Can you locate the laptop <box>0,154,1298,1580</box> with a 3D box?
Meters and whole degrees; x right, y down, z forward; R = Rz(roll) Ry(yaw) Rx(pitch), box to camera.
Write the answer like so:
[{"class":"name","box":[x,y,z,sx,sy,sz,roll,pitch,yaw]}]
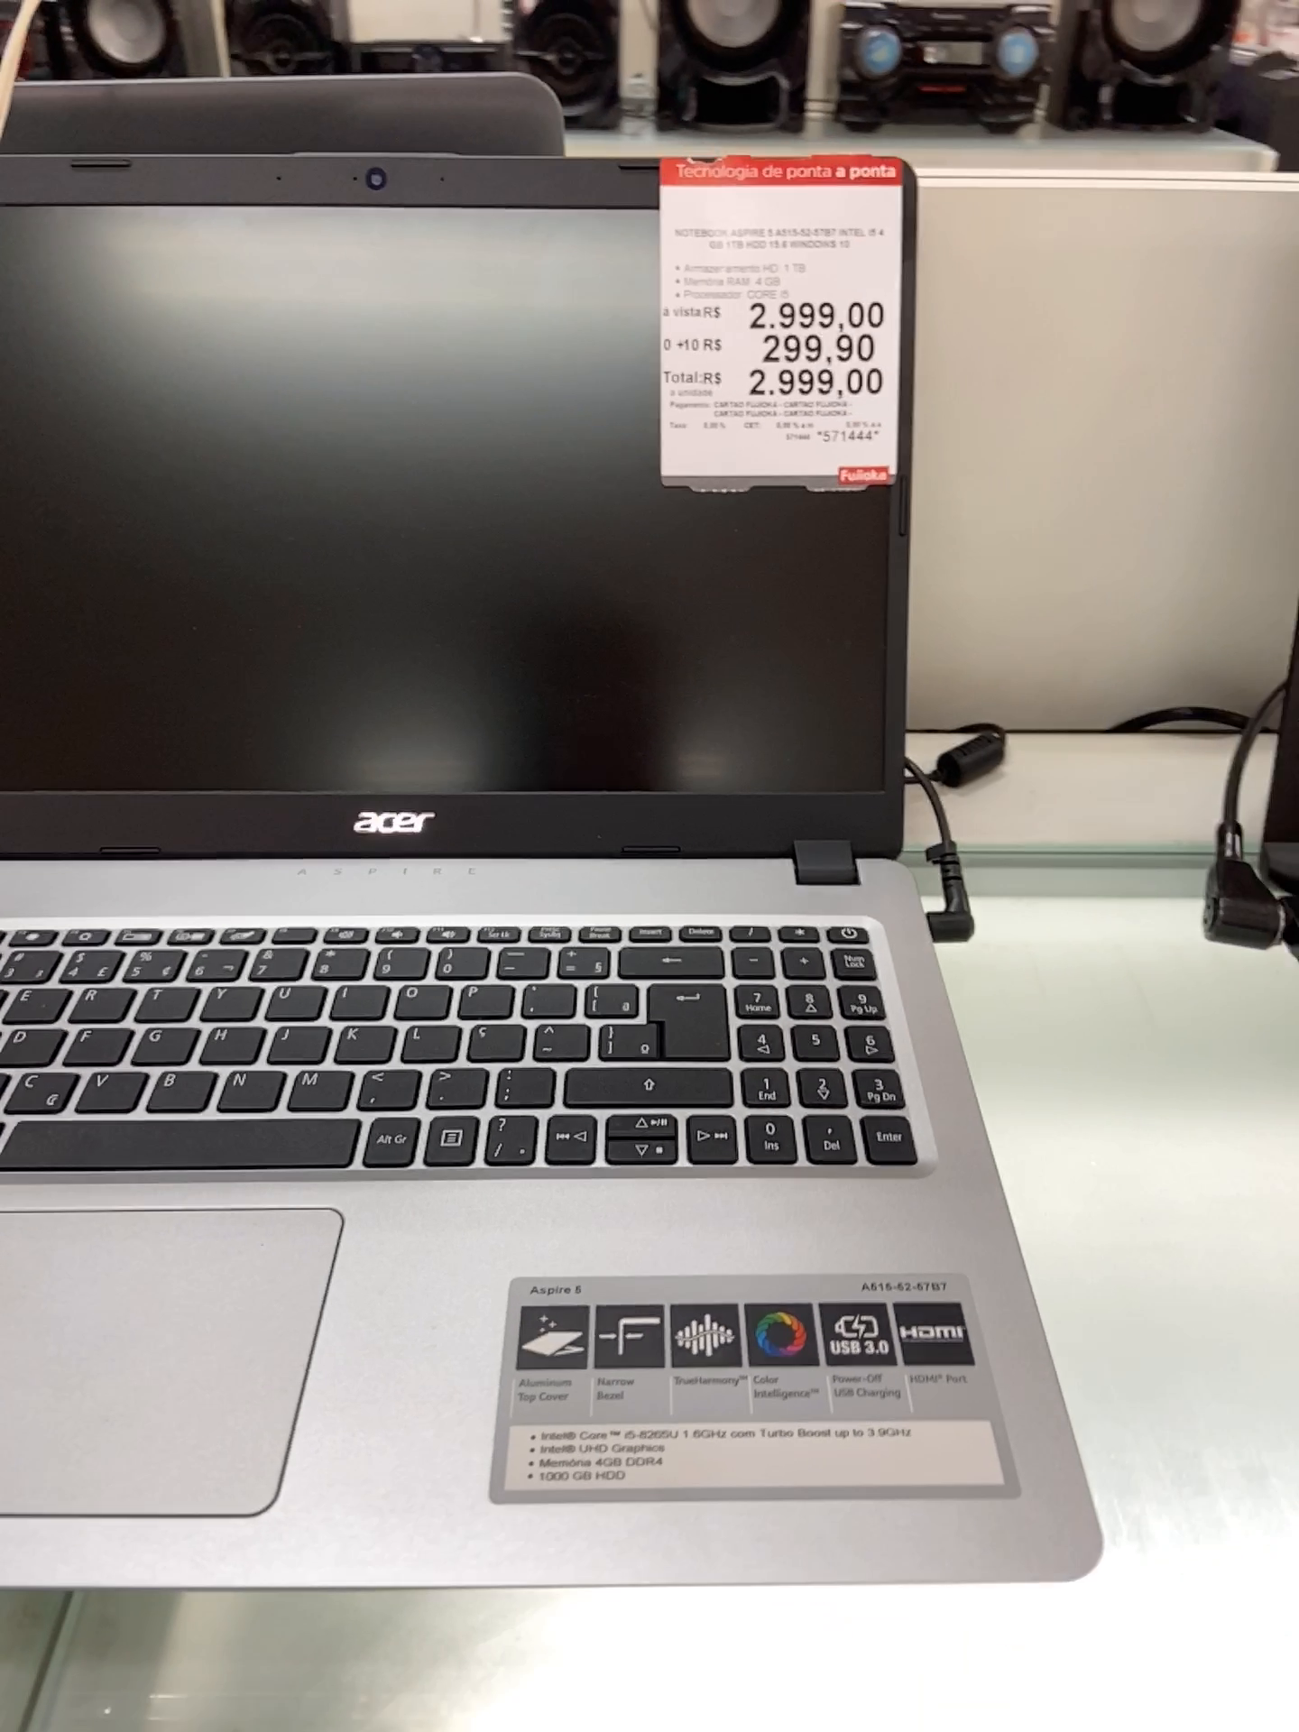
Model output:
[{"class":"laptop","box":[-0.095,-0.051,0.364,0.366,0.205,0.374,0,35,0]}]
